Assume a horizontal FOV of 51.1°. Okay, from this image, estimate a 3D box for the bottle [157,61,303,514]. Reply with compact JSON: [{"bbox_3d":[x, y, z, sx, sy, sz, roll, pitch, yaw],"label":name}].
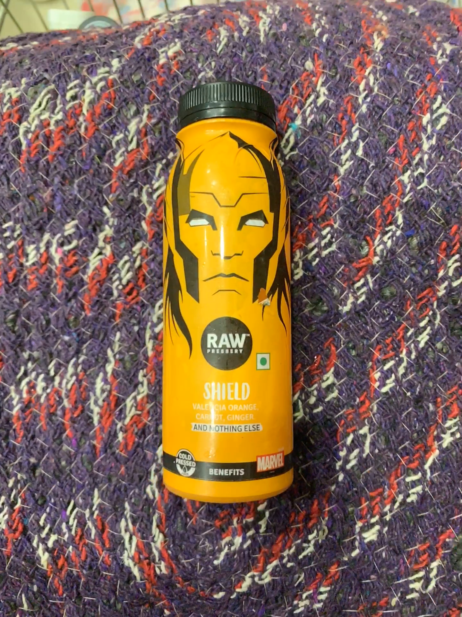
[{"bbox_3d":[0.003,-0.009,0.197,0.050,0.050,0.160,0,85,6],"label":"bottle"}]
